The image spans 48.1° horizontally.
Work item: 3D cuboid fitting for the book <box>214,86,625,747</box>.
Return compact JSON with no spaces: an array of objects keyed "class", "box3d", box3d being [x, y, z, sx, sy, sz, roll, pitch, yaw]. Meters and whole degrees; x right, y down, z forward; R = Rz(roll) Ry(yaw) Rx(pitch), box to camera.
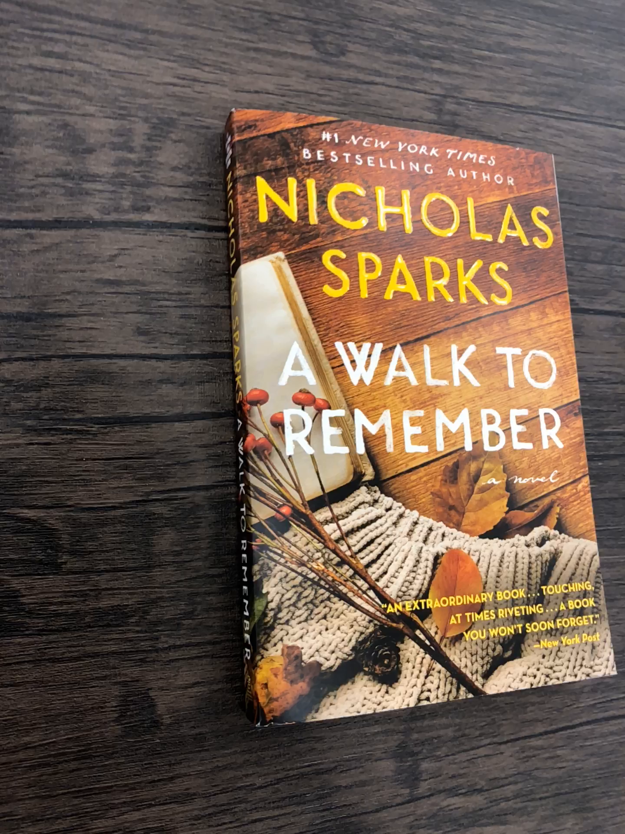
[{"class":"book","box3d":[0.037,-0.005,0.242,0.132,0.020,0.200,-1,82,-20]}]
